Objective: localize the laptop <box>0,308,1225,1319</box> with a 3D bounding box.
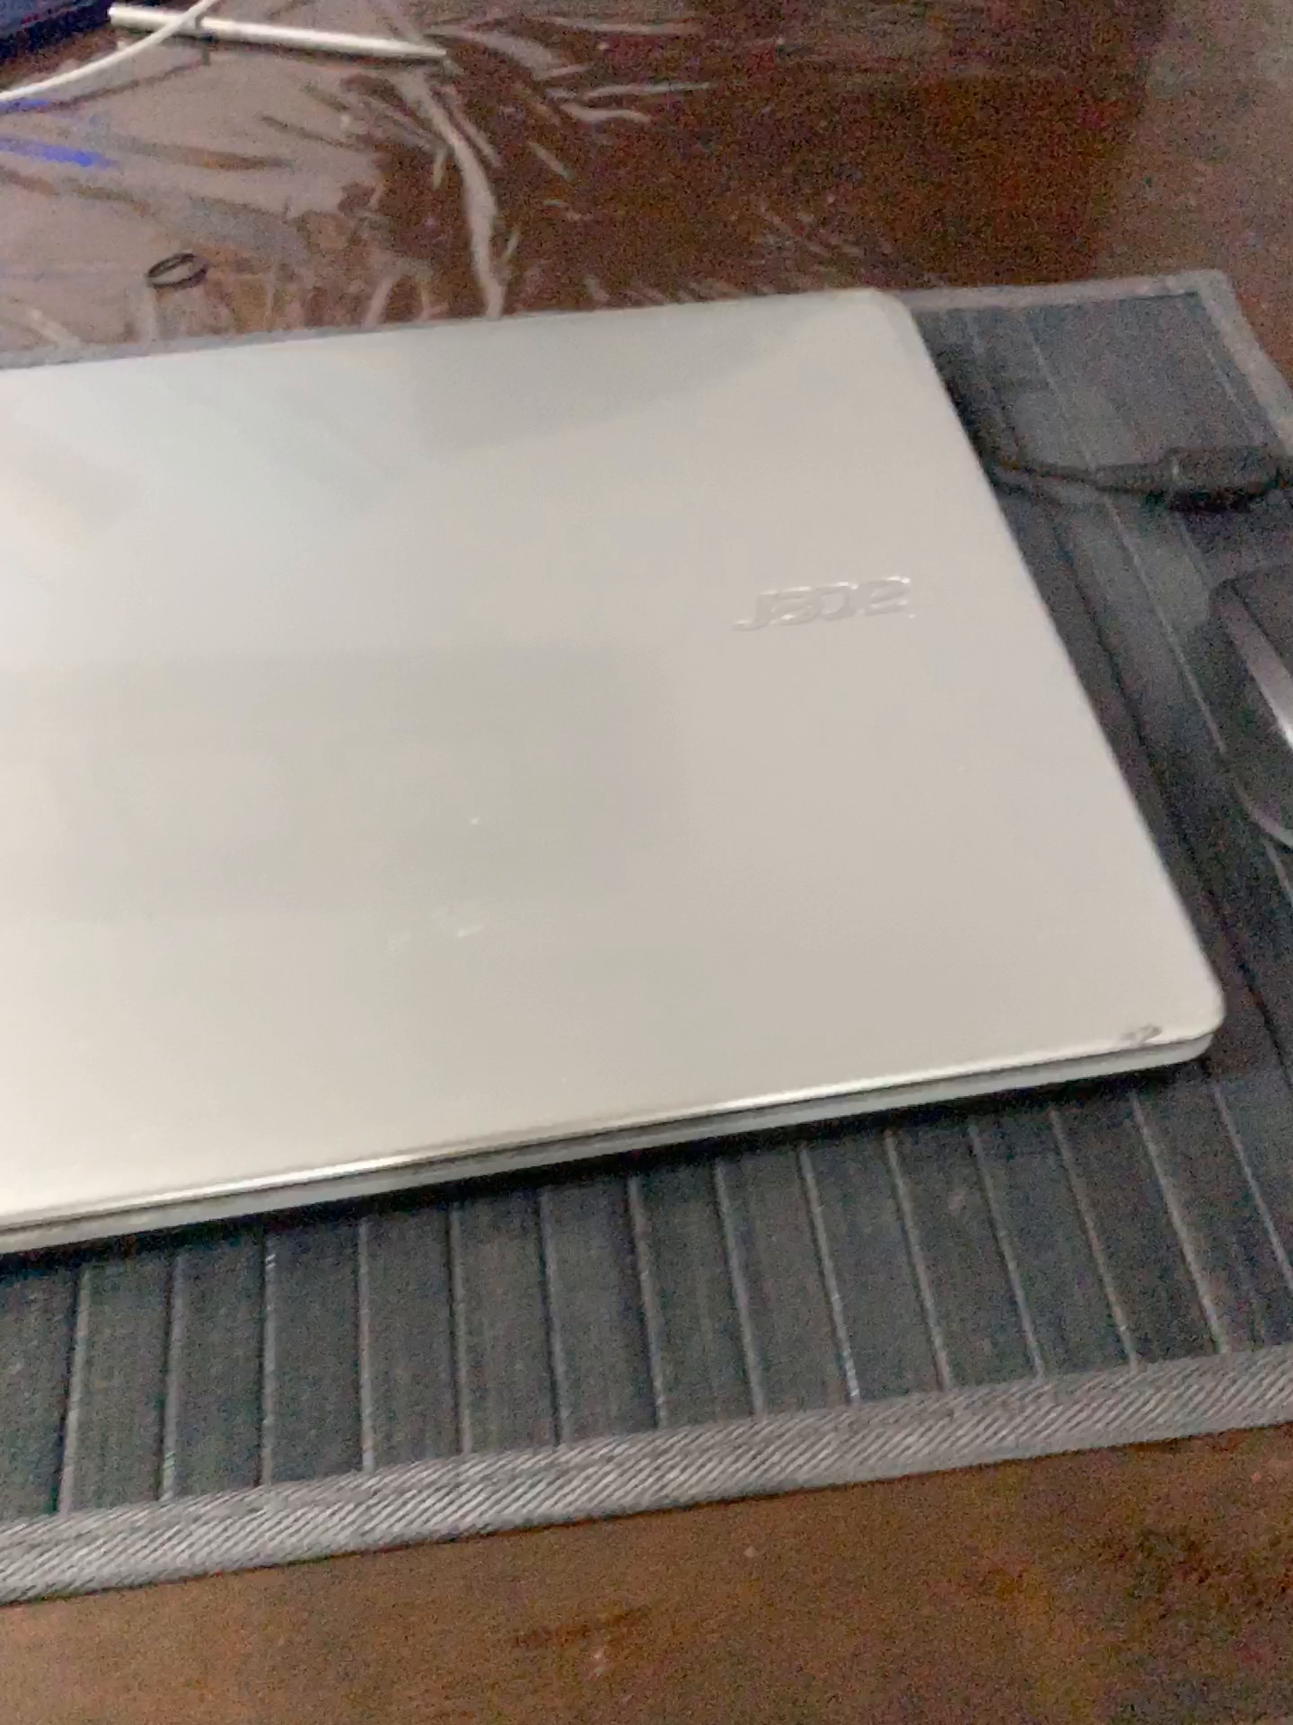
[{"bbox_3d":[-0.074,-0.041,0.296,0.335,0.002,0.224,-7,58,-7],"label":"laptop"}]
